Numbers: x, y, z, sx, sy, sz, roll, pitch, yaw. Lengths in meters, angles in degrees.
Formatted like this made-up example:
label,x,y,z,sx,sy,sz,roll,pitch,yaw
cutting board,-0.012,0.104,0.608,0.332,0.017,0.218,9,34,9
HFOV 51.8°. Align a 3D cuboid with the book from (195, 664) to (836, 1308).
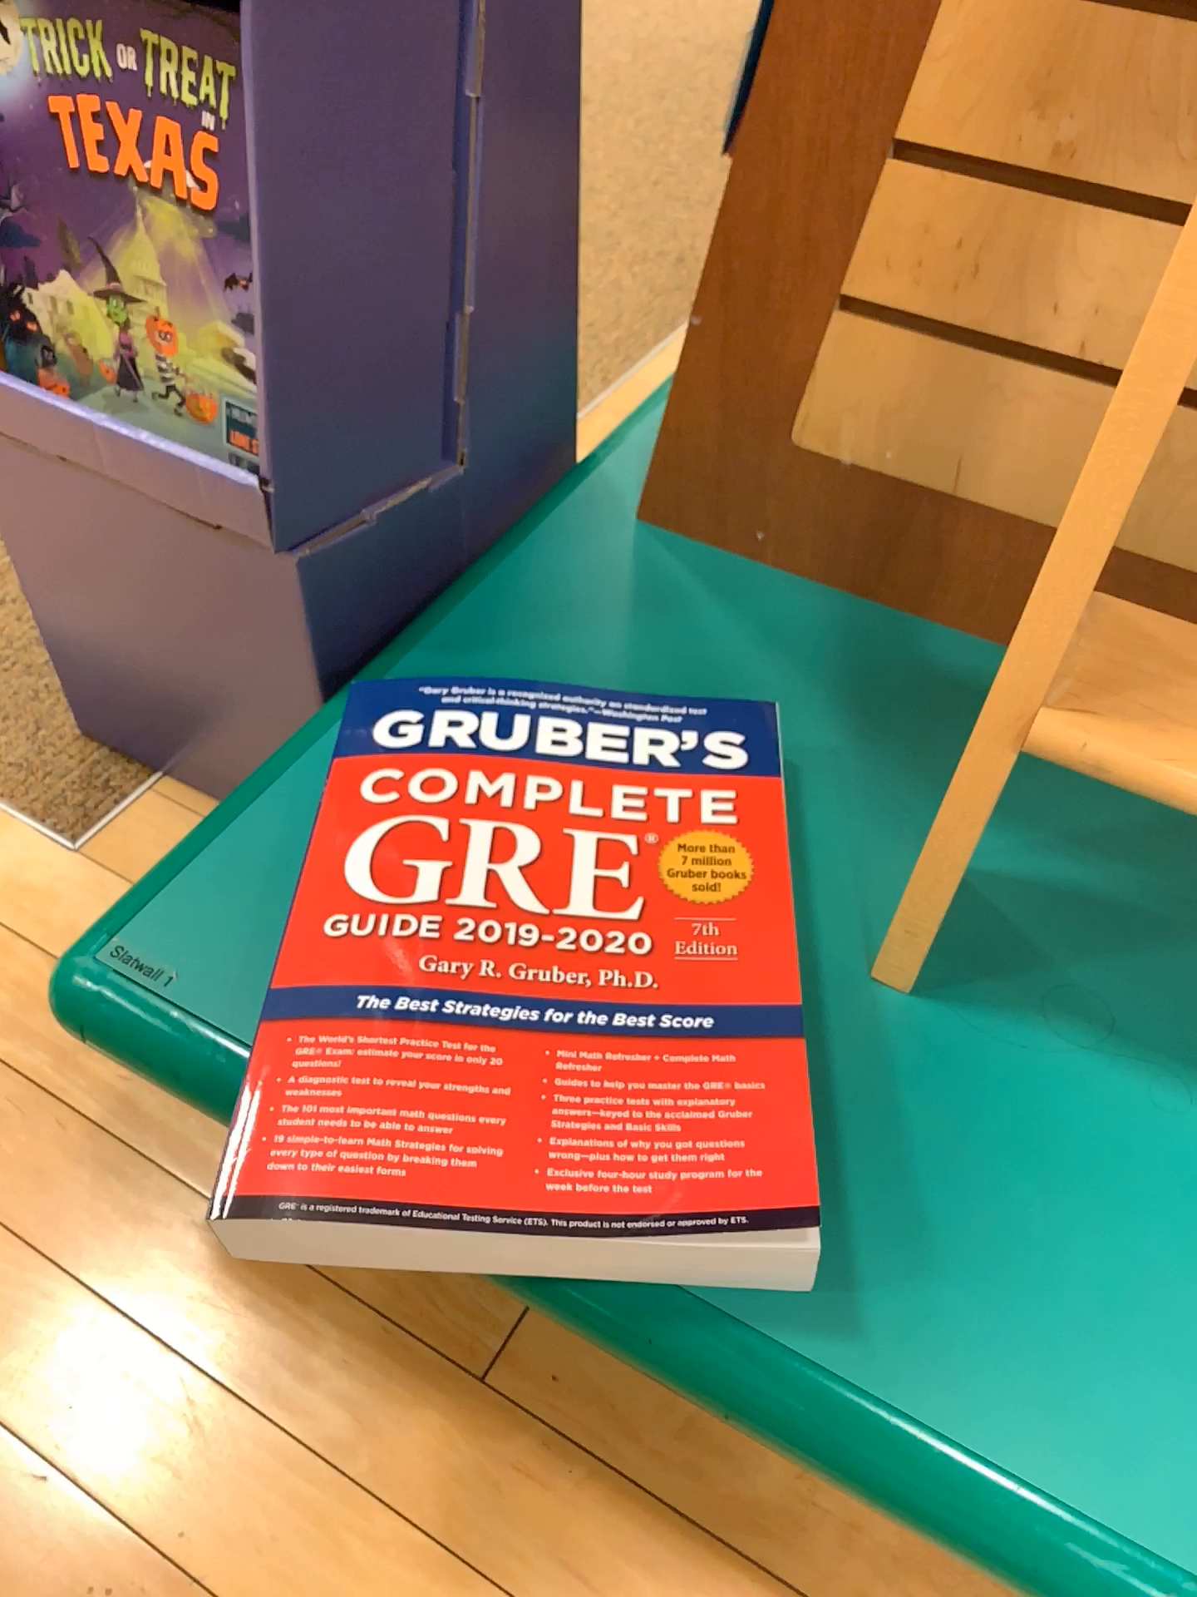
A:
label,x,y,z,sx,sy,sz,roll,pitch,yaw
book,-0.022,0.059,0.535,0.220,0.040,0.291,3,48,1
